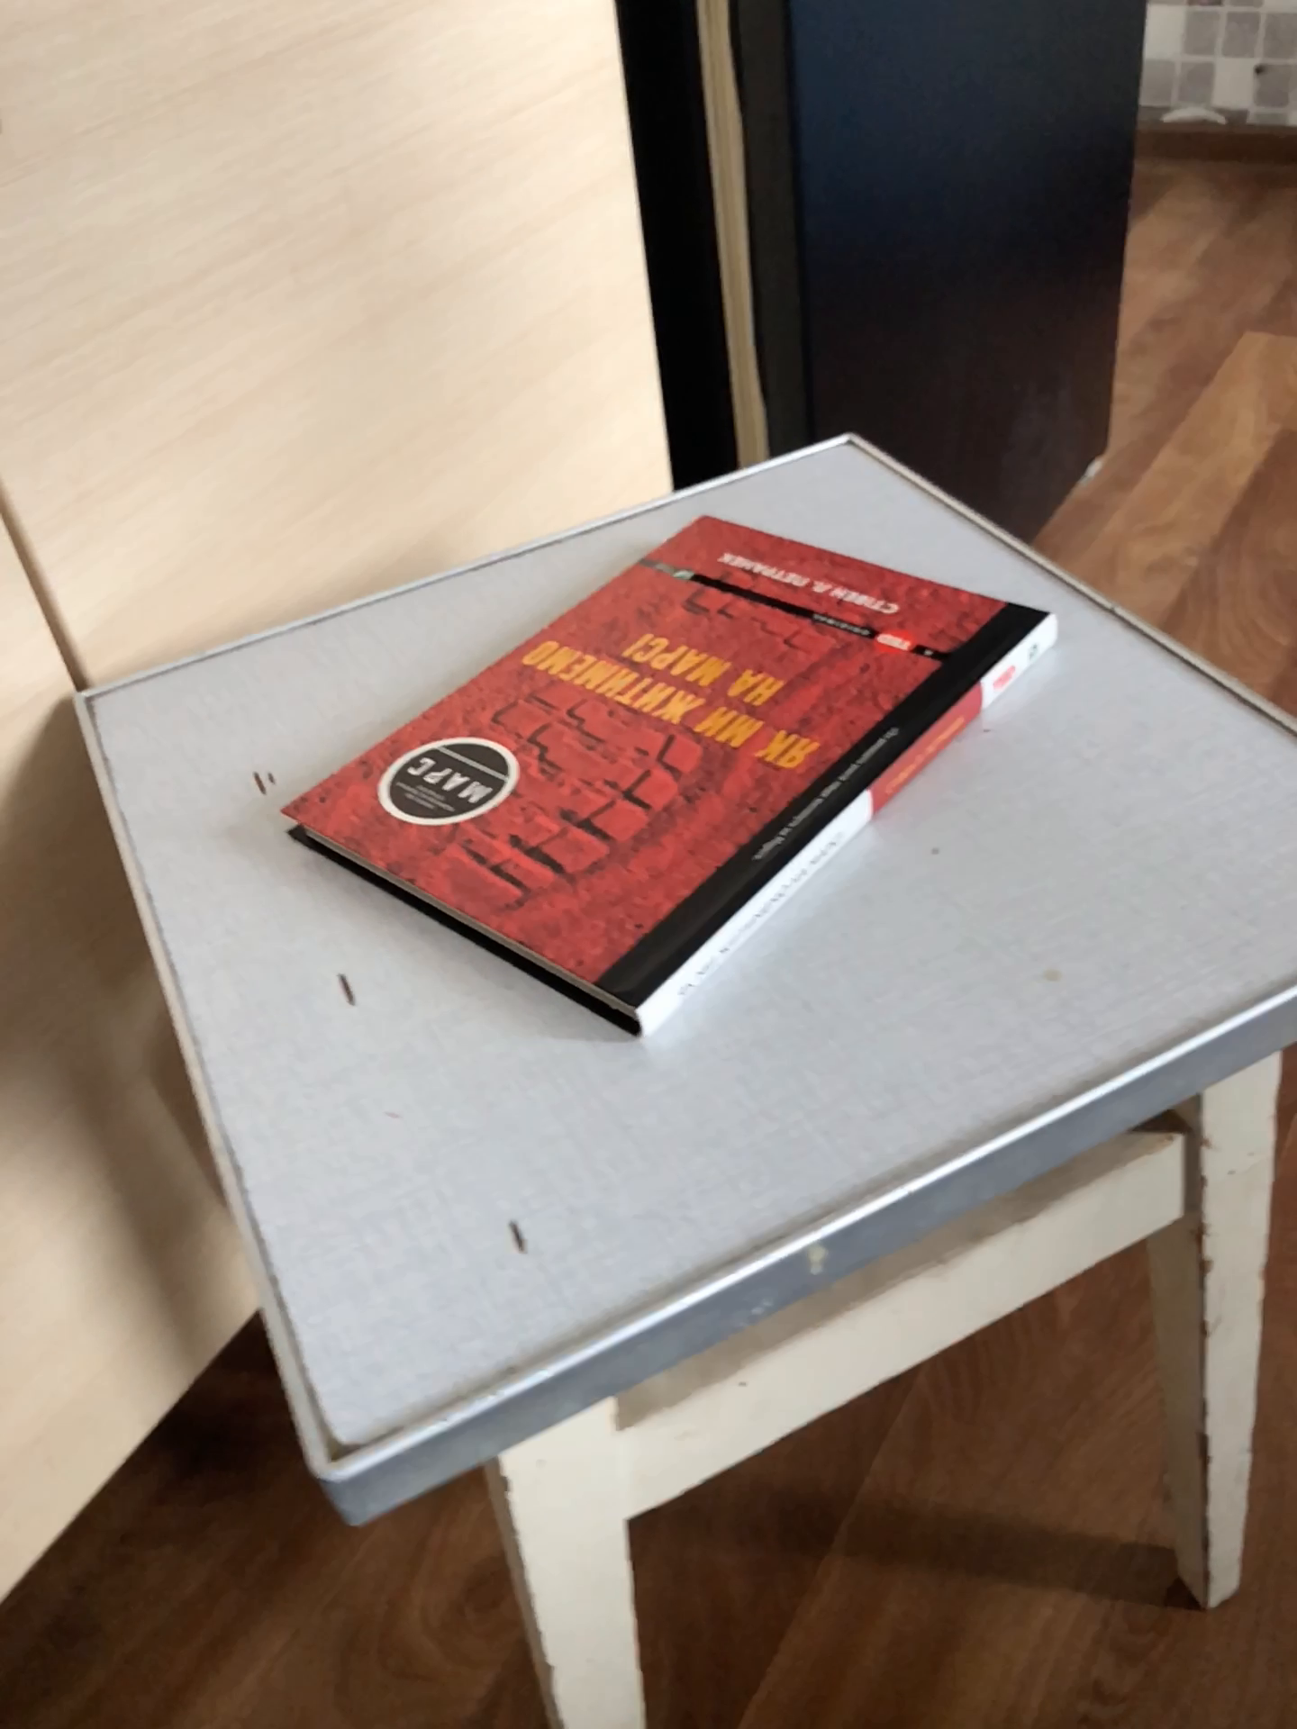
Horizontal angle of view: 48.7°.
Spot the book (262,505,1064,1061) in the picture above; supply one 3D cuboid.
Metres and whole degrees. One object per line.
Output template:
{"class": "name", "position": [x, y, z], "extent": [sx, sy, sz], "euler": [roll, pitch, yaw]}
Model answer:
{"class": "book", "position": [0.010, -0.043, 0.446], "extent": [0.146, 0.015, 0.214], "euler": [25, 51, 33]}
